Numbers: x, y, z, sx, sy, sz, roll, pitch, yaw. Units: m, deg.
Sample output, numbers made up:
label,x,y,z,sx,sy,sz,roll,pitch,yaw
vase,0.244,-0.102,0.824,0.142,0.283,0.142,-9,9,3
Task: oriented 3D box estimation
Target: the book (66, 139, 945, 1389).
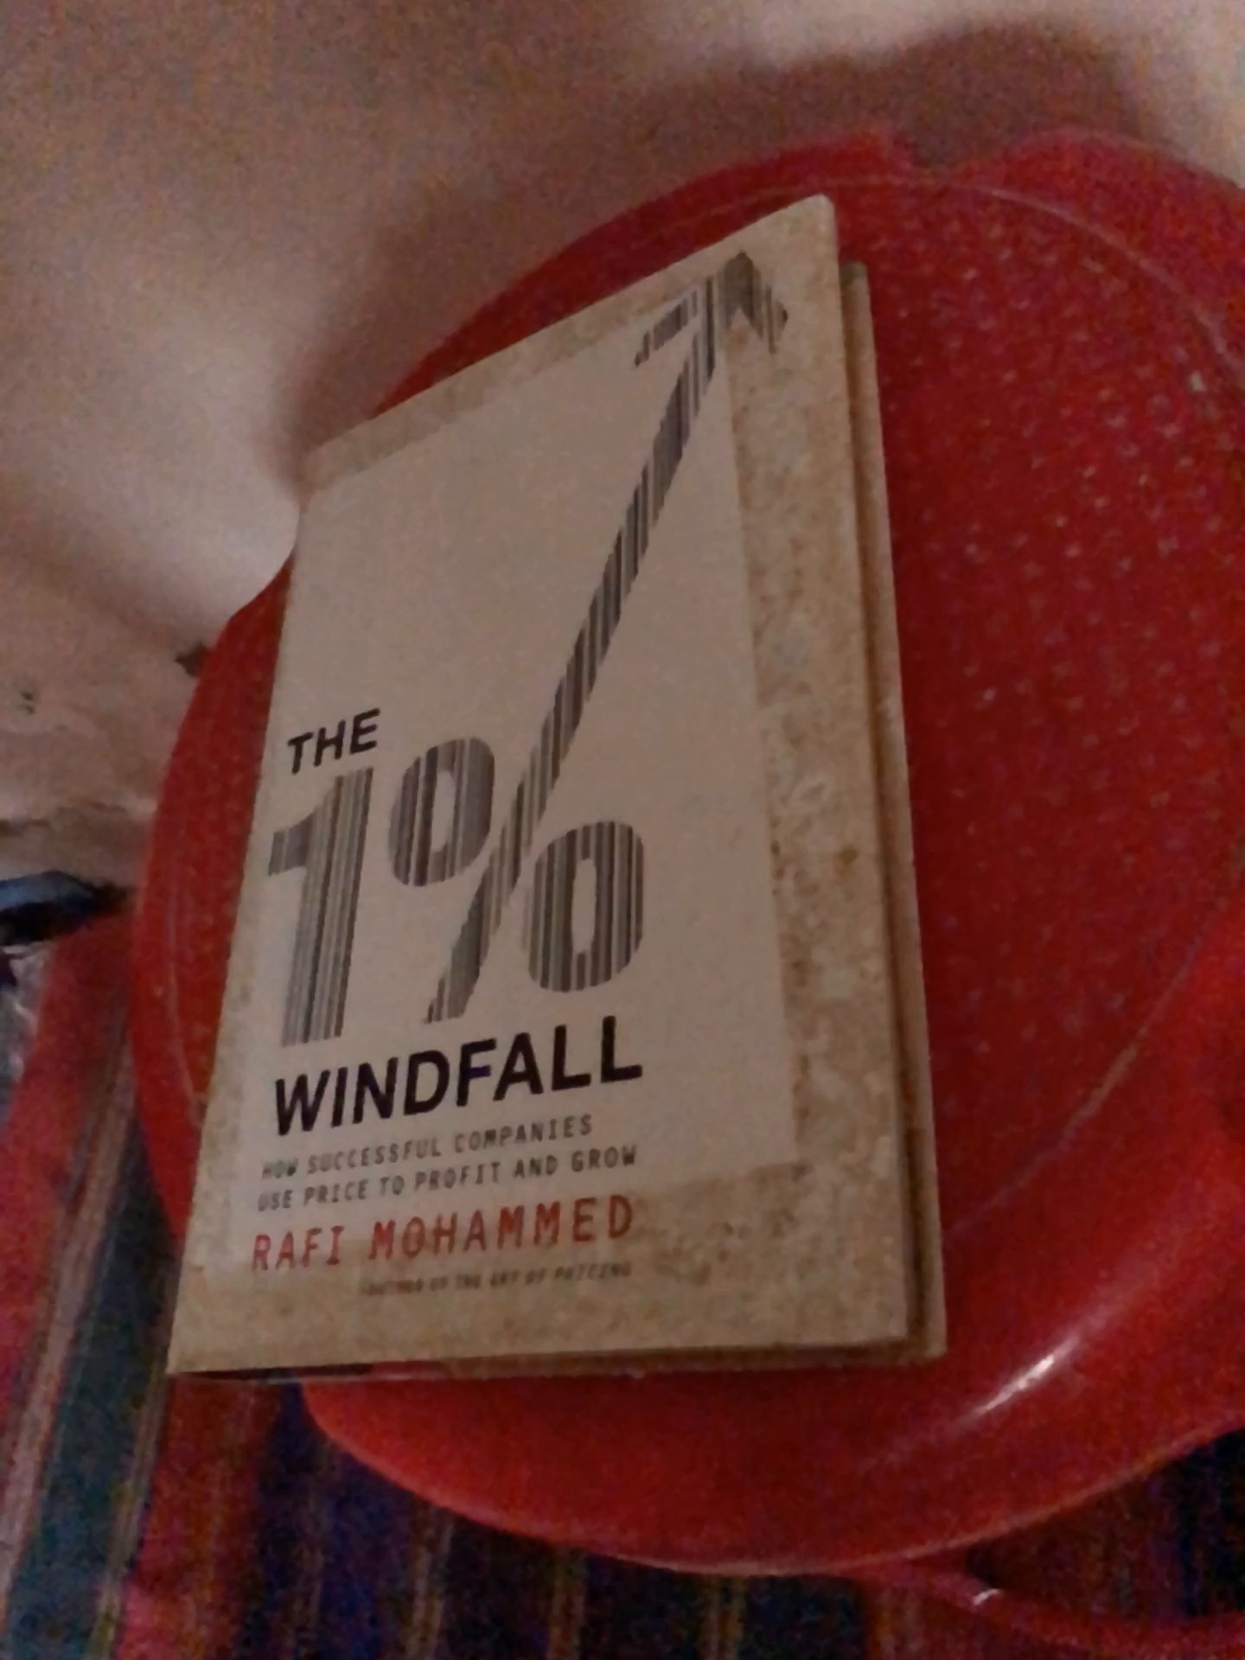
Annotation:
label,x,y,z,sx,sy,sz,roll,pitch,yaw
book,-0.029,-0.014,0.321,0.180,0.040,0.260,-16,59,30
